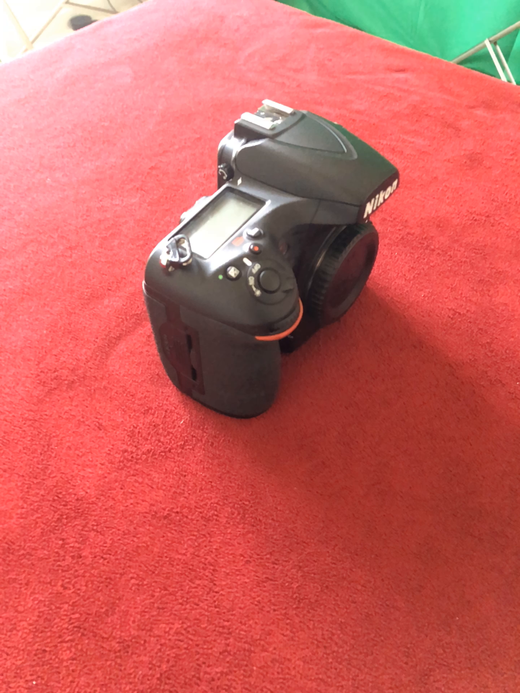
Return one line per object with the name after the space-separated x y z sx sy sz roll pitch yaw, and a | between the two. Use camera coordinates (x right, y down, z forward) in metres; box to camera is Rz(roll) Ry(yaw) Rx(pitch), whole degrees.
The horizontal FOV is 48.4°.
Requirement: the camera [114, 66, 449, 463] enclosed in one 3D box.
0.016 -0.045 0.305 0.083 0.129 0.146 28 55 21 | camera
